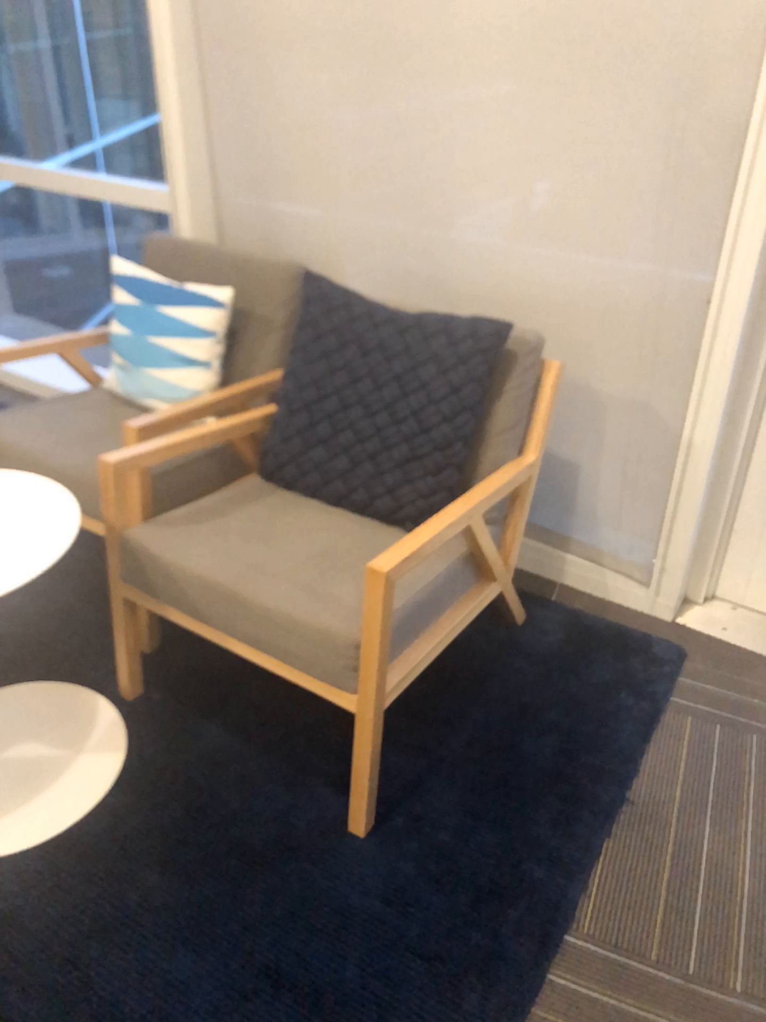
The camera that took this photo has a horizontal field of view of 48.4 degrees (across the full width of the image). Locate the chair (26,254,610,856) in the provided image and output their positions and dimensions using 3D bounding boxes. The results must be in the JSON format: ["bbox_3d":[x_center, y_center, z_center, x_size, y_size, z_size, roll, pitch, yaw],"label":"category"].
[{"bbox_3d":[-0.081,-0.005,1.819,0.740,0.773,0.857,19,36,28],"label":"chair"}]
